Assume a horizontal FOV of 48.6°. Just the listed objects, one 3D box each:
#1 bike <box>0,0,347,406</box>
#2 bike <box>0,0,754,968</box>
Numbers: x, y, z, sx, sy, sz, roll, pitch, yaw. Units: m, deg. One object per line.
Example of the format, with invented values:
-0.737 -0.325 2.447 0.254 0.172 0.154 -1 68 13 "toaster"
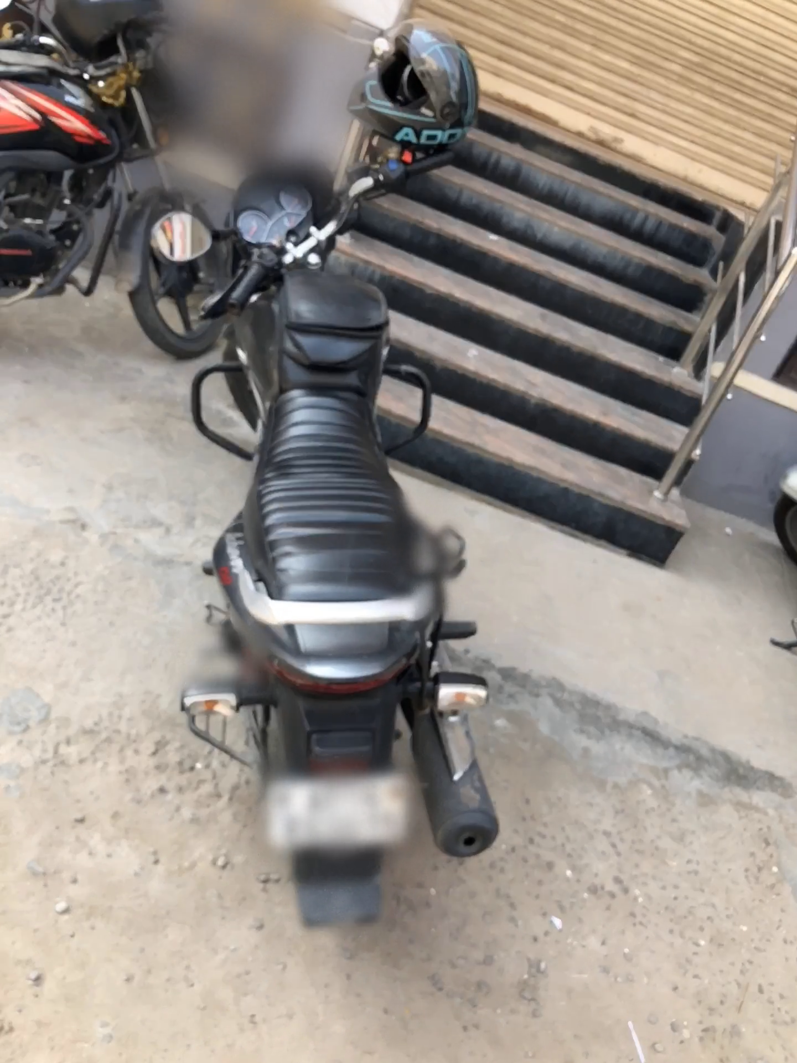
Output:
-1.101 -1.026 2.582 0.684 1.056 1.605 39 31 28 "bike"
-0.349 -0.324 1.821 0.747 1.156 1.743 10 34 -24 "bike"
